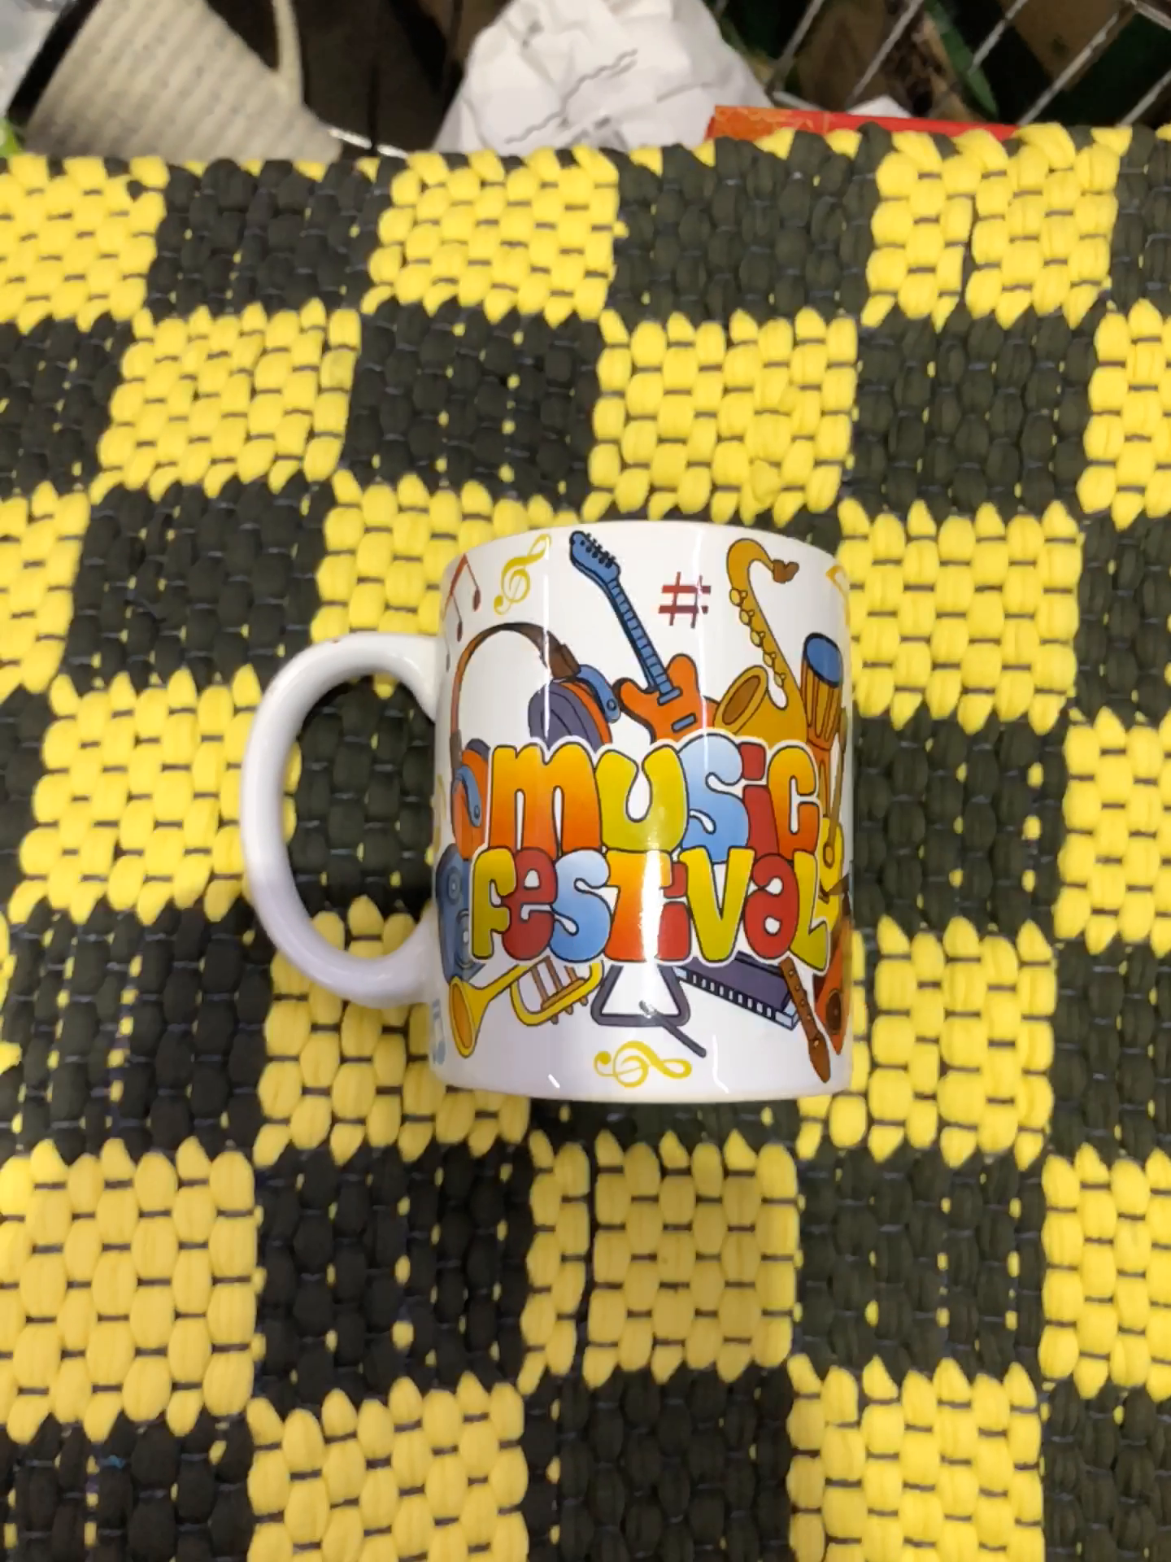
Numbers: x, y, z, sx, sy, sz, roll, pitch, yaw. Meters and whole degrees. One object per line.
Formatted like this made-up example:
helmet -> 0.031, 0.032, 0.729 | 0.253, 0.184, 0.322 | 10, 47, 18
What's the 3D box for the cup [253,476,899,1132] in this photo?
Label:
cup -> 0.002, 0.009, 0.248 | 0.100, 0.070, 0.100 | -4, 81, 22
